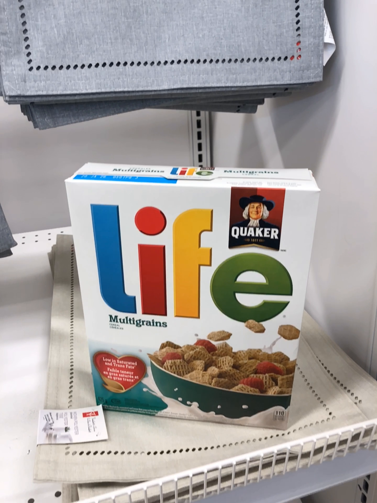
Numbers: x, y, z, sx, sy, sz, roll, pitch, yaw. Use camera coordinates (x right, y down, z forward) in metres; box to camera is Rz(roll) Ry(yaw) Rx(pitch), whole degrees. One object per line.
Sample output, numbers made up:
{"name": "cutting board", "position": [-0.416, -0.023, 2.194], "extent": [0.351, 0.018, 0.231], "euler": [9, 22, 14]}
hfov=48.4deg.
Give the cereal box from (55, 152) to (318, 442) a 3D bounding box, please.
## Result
{"name": "cereal box", "position": [-0.003, 0.052, 0.418], "extent": [0.210, 0.279, 0.060], "euler": [4, 25, 7]}
